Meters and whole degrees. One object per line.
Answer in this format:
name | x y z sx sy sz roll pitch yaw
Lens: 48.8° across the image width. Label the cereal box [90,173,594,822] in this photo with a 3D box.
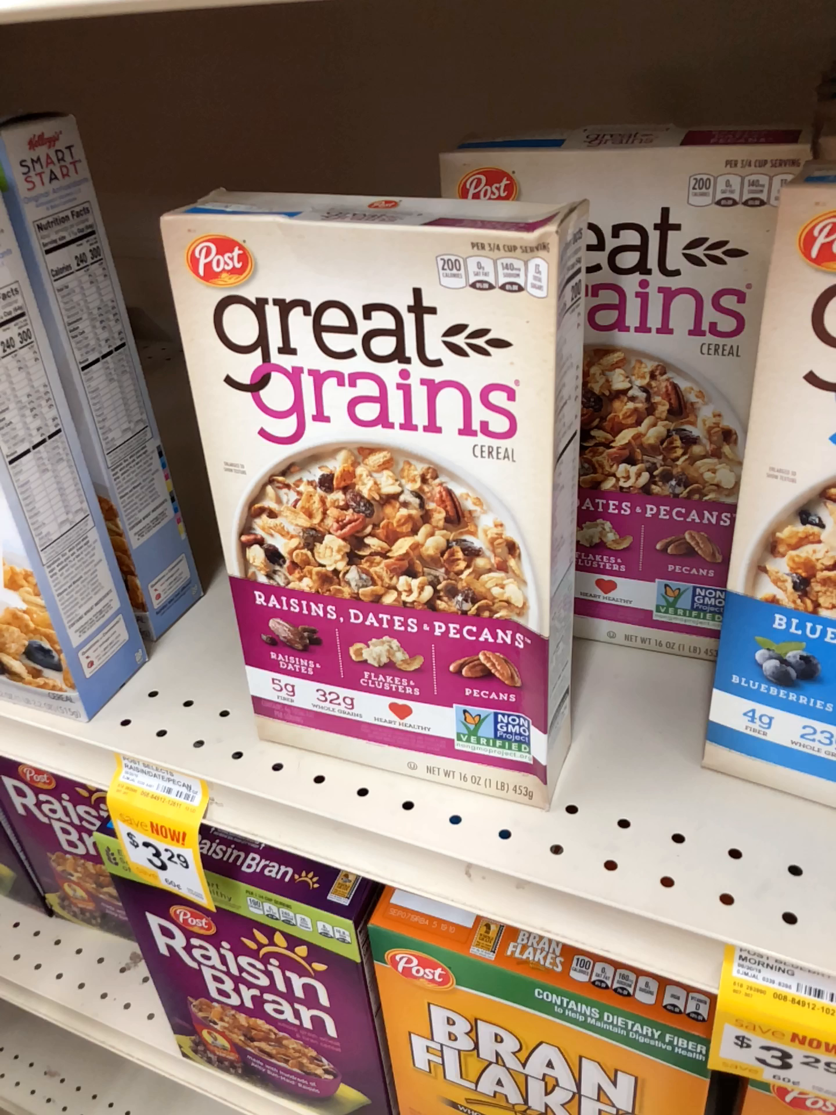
cereal box | -0.019 -0.016 0.395 0.170 0.269 0.050 9 37 20
